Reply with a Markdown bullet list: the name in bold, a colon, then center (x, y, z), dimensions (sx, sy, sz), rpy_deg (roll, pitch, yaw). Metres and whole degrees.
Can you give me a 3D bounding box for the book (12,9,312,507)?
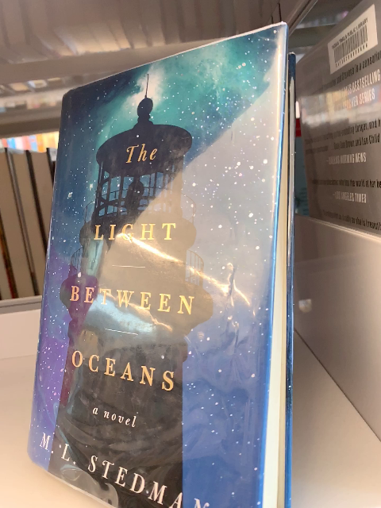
- **book**: center (-0.022, 0.011, 0.217), dimensions (0.156, 0.225, 0.042), rpy_deg (0, -7, 35)
